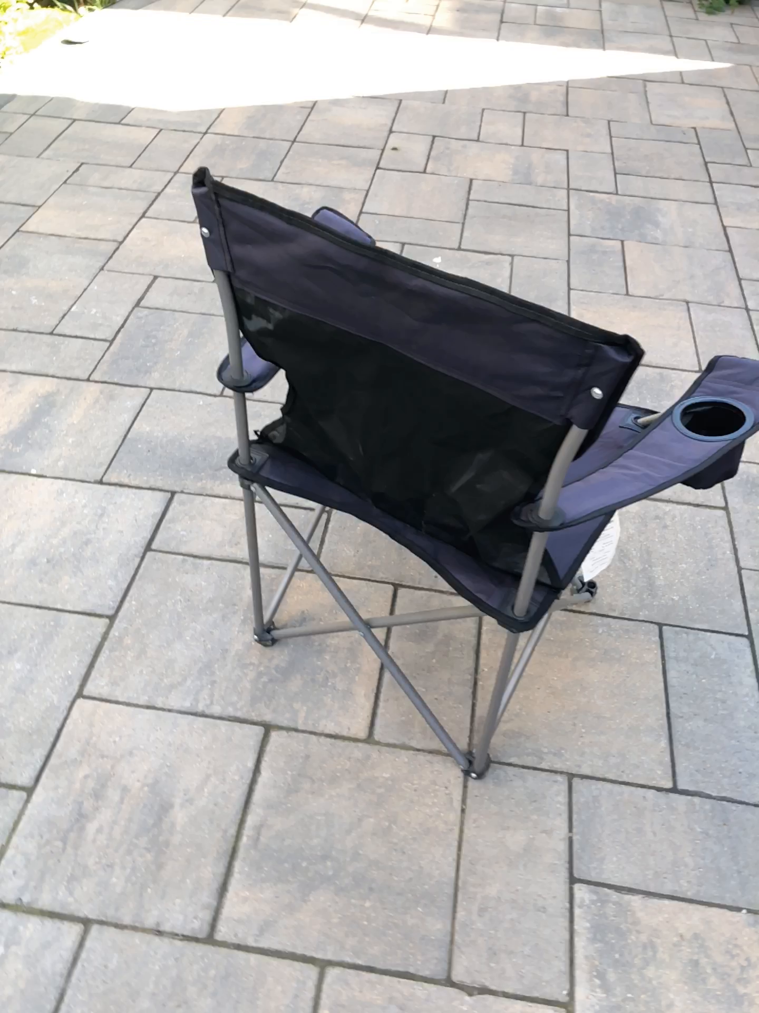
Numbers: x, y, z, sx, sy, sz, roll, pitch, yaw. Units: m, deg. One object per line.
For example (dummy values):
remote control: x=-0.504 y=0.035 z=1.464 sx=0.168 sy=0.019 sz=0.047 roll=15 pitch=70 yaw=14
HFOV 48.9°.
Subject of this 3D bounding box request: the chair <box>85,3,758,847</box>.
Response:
chair: x=0.129 y=-0.119 z=1.177 sx=0.691 sy=0.817 sz=0.572 roll=26 pitch=49 yaw=21
